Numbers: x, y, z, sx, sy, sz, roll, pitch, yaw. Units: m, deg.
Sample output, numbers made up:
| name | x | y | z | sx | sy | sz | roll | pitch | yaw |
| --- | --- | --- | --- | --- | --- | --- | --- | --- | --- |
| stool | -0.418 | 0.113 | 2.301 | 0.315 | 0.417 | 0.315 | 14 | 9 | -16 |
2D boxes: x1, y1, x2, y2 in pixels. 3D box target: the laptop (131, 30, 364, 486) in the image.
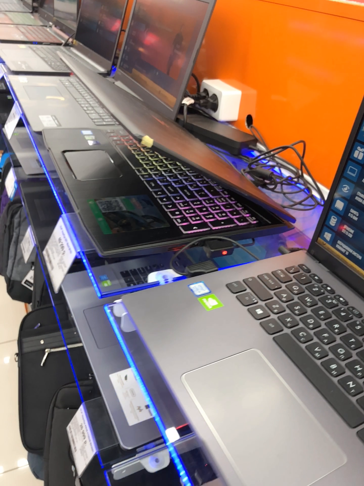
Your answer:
| name | x | y | z | sx | sy | sz | roll | pitch | yaw |
| --- | --- | --- | --- | --- | --- | --- | --- | --- | --- |
| laptop | 0.141 | 0.028 | 0.228 | 0.231 | 0.216 | 0.353 | -12 | 37 | -27 |

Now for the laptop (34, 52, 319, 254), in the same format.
| name | x | y | z | sx | sy | sz | roll | pitch | yaw |
| --- | --- | --- | --- | --- | --- | --- | --- | --- | --- |
| laptop | -0.043 | -0.158 | 0.562 | 0.243 | 0.121 | 0.365 | -10 | 38 | -24 |

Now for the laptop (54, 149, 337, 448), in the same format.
| name | x | y | z | sx | sy | sz | roll | pitch | yaw |
| --- | --- | --- | --- | --- | --- | --- | --- | --- | --- |
| laptop | -0.026 | 0.046 | 0.690 | 0.287 | 0.256 | 0.395 | -10 | 37 | -24 |

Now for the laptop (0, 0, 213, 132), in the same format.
| name | x | y | z | sx | sy | sz | roll | pitch | yaw |
| --- | --- | --- | --- | --- | --- | --- | --- | --- | --- |
| laptop | -0.171 | -0.411 | 0.820 | 0.318 | 0.228 | 0.360 | -10 | 38 | -26 |

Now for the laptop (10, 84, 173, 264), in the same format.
| name | x | y | z | sx | sy | sz | roll | pitch | yaw |
| --- | --- | --- | --- | --- | --- | --- | --- | --- | --- |
| laptop | -0.244 | -0.193 | 1.007 | 0.273 | 0.270 | 0.408 | -8 | 37 | -25 |

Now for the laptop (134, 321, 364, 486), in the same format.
| name | x | y | z | sx | sy | sz | roll | pitch | yaw |
| --- | --- | --- | --- | --- | --- | --- | --- | --- | --- |
| laptop | 0.134 | 0.301 | 0.327 | 0.230 | 0.240 | 0.360 | -10 | 36 | -24 |
